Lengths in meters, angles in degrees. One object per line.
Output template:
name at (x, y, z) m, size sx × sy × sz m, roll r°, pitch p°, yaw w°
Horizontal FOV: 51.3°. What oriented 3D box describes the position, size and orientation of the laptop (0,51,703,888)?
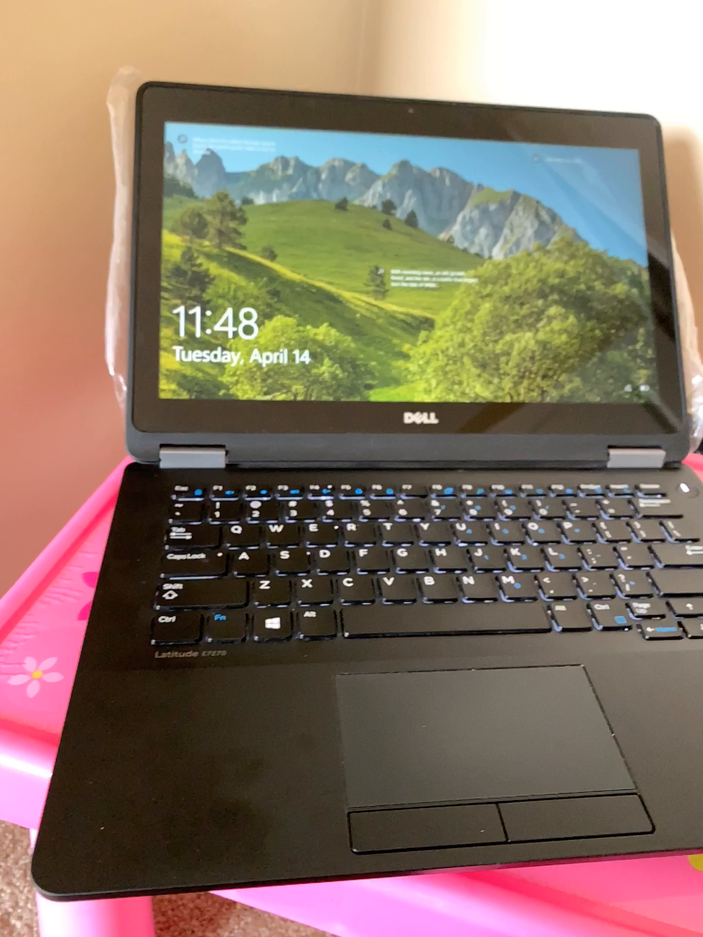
laptop at (0.039, -0.043, 0.279) m, size 0.261 × 0.121 × 0.303 m, roll 0°, pitch 41°, yaw -9°
